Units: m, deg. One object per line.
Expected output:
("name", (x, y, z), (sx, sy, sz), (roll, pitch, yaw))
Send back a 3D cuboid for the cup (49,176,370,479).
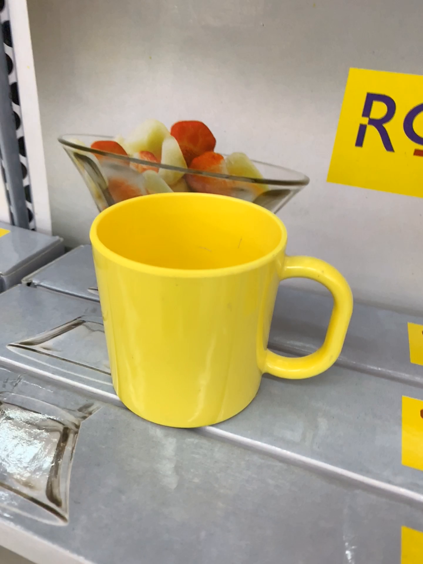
("cup", (0.003, 0.010, 0.174), (0.096, 0.069, 0.072), (12, 32, 12))
